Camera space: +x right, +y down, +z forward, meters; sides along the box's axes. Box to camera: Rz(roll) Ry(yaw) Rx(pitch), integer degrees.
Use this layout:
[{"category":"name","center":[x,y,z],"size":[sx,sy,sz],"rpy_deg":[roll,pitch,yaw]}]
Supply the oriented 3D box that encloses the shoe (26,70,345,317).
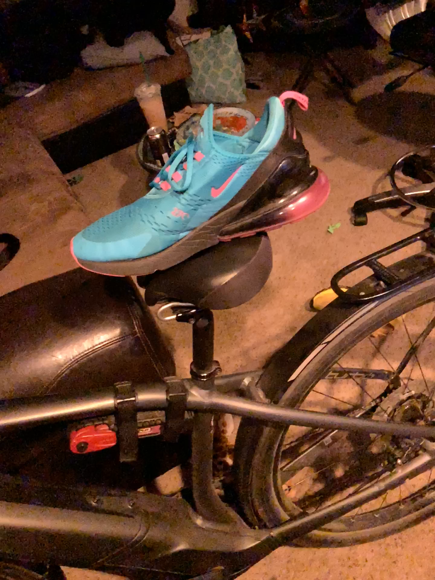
[{"category":"shoe","center":[-0.034,-0.125,0.579],"size":[0.330,0.130,0.150],"rpy_deg":[-24,42,-8]}]
